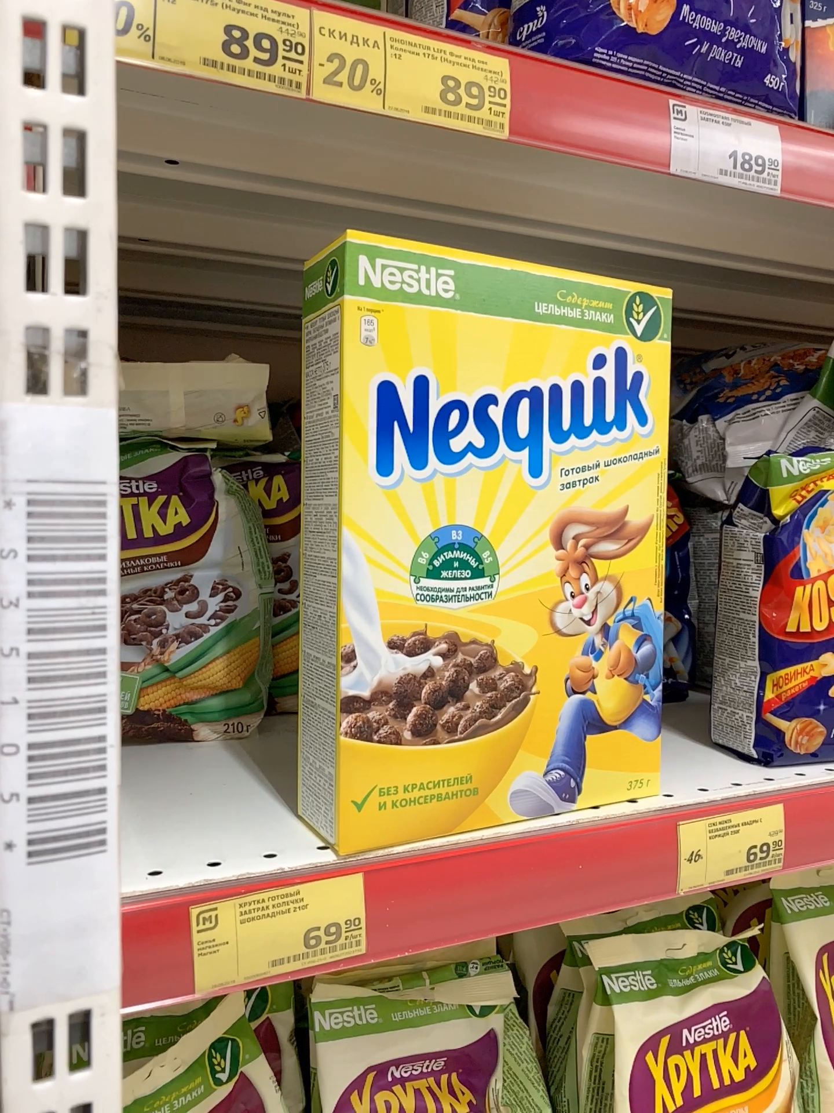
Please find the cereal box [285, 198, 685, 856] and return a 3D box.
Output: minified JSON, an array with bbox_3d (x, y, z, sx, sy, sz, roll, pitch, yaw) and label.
[{"bbox_3d":[0.037,-0.013,0.424,0.190,0.270,0.060,0,2,-28],"label":"cereal box"}]
